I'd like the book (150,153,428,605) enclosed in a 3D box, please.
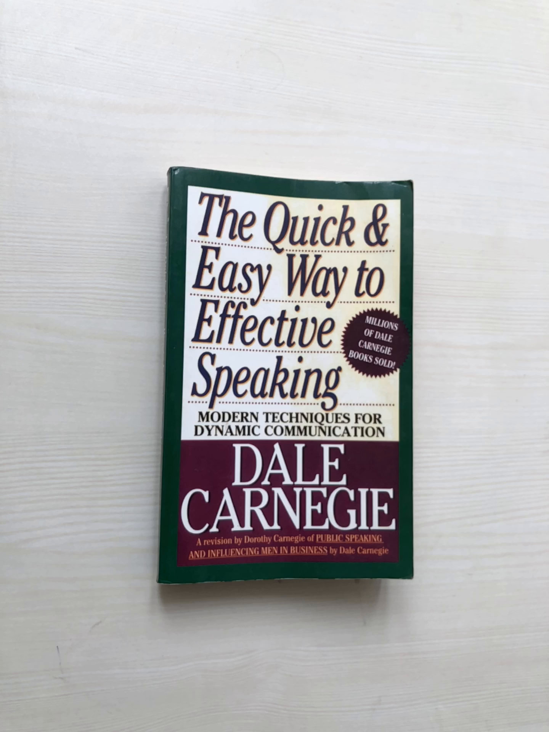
[{"bbox_3d":[0.006,0.006,0.271,0.110,0.040,0.180,2,86,-7],"label":"book"}]
